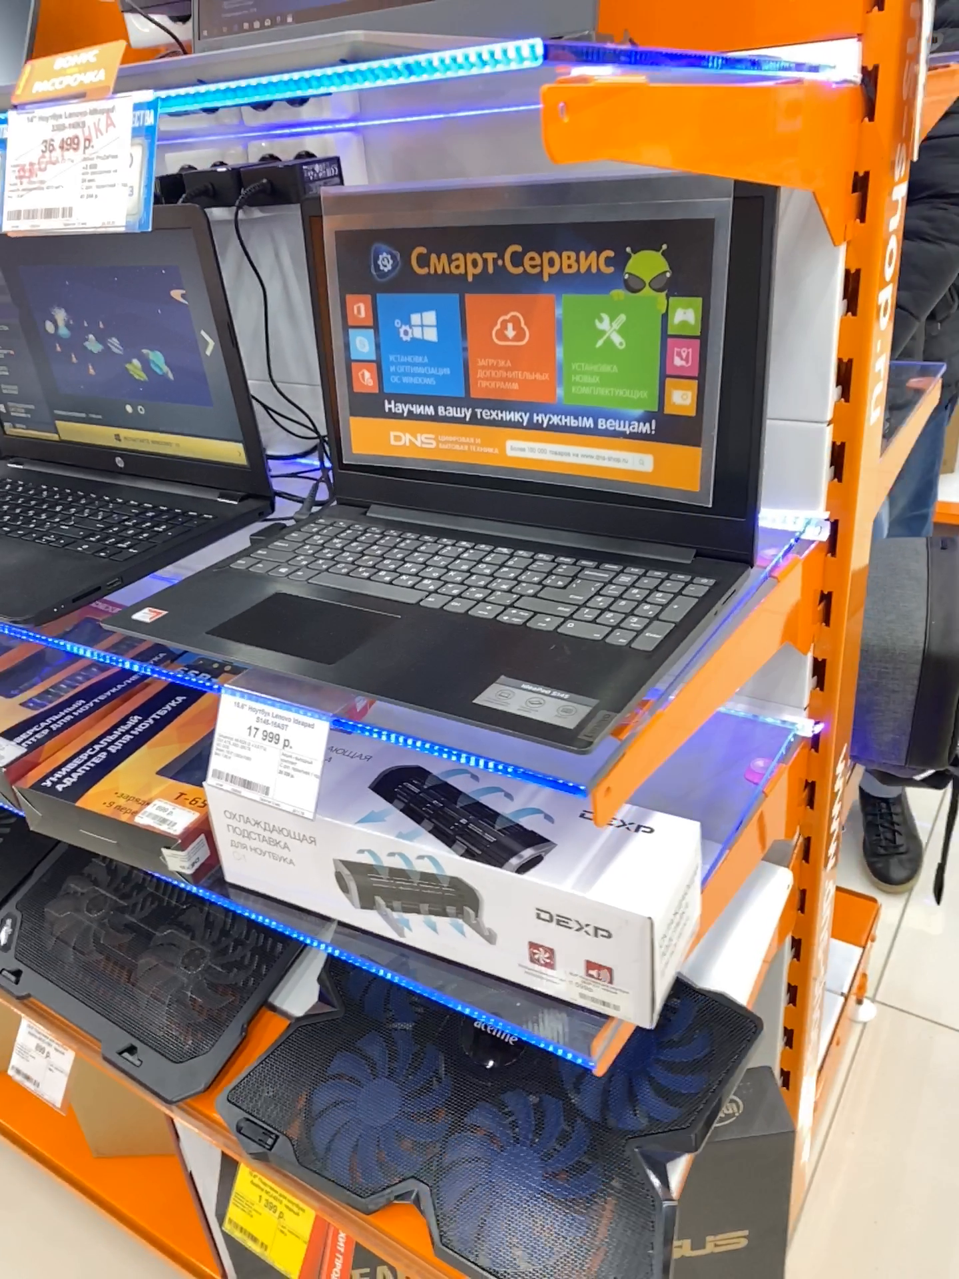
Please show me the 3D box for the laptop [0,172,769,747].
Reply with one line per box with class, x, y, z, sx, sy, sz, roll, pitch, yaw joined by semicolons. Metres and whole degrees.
laptop;-0.045;-0.139;0.608;0.357;0.236;0.266;11;31;30
